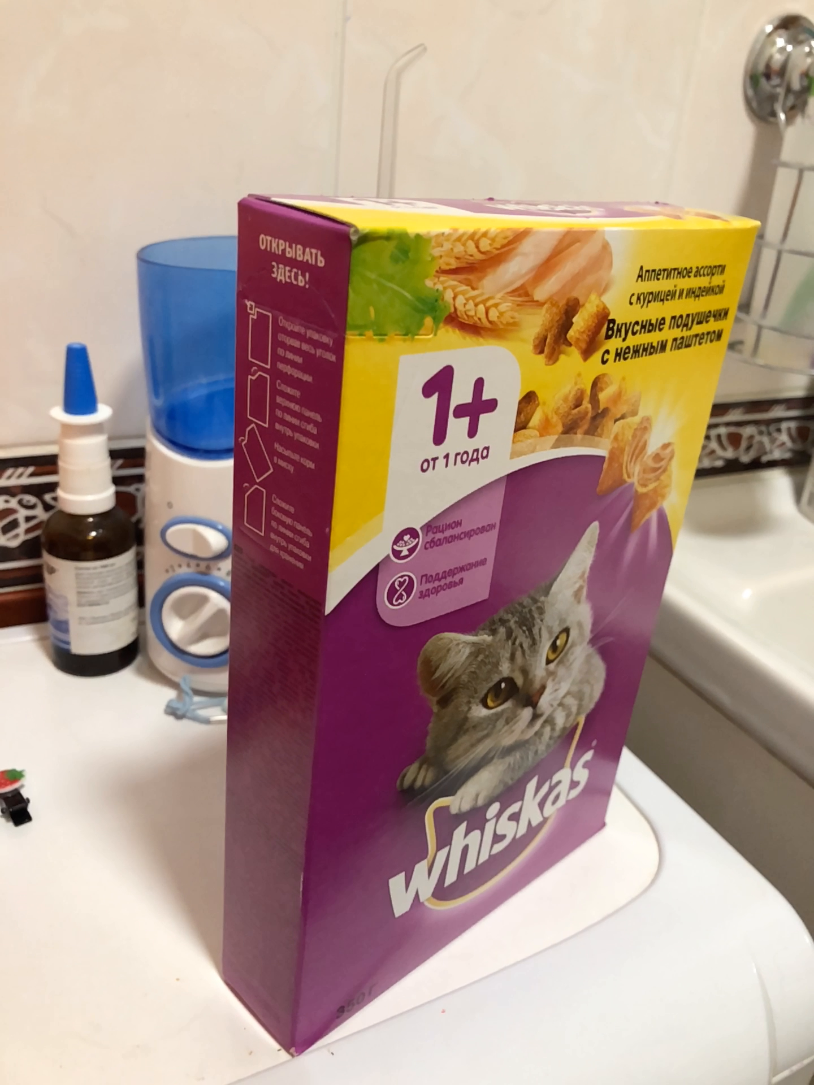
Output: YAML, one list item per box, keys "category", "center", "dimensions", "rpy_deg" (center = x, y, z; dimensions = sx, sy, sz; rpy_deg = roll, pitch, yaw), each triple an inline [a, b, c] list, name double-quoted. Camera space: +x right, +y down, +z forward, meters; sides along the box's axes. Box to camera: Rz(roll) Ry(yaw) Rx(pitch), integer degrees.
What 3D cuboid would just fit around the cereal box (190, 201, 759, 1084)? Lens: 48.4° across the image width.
- category: "cereal box"
  center: [0.017, 0.023, 0.254]
  dimensions: [0.151, 0.219, 0.040]
  rpy_deg: [-18, 34, -41]
